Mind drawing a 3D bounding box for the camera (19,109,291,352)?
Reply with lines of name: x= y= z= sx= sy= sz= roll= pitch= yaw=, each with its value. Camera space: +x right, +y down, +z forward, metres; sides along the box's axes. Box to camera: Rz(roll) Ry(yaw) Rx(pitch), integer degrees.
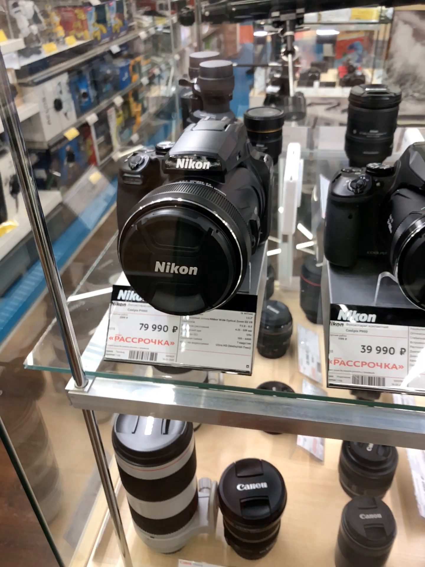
camera: x=-0.023 y=-0.061 z=0.398 sx=0.160 sy=0.113 sz=0.201 roll=4 pitch=35 yaw=10
